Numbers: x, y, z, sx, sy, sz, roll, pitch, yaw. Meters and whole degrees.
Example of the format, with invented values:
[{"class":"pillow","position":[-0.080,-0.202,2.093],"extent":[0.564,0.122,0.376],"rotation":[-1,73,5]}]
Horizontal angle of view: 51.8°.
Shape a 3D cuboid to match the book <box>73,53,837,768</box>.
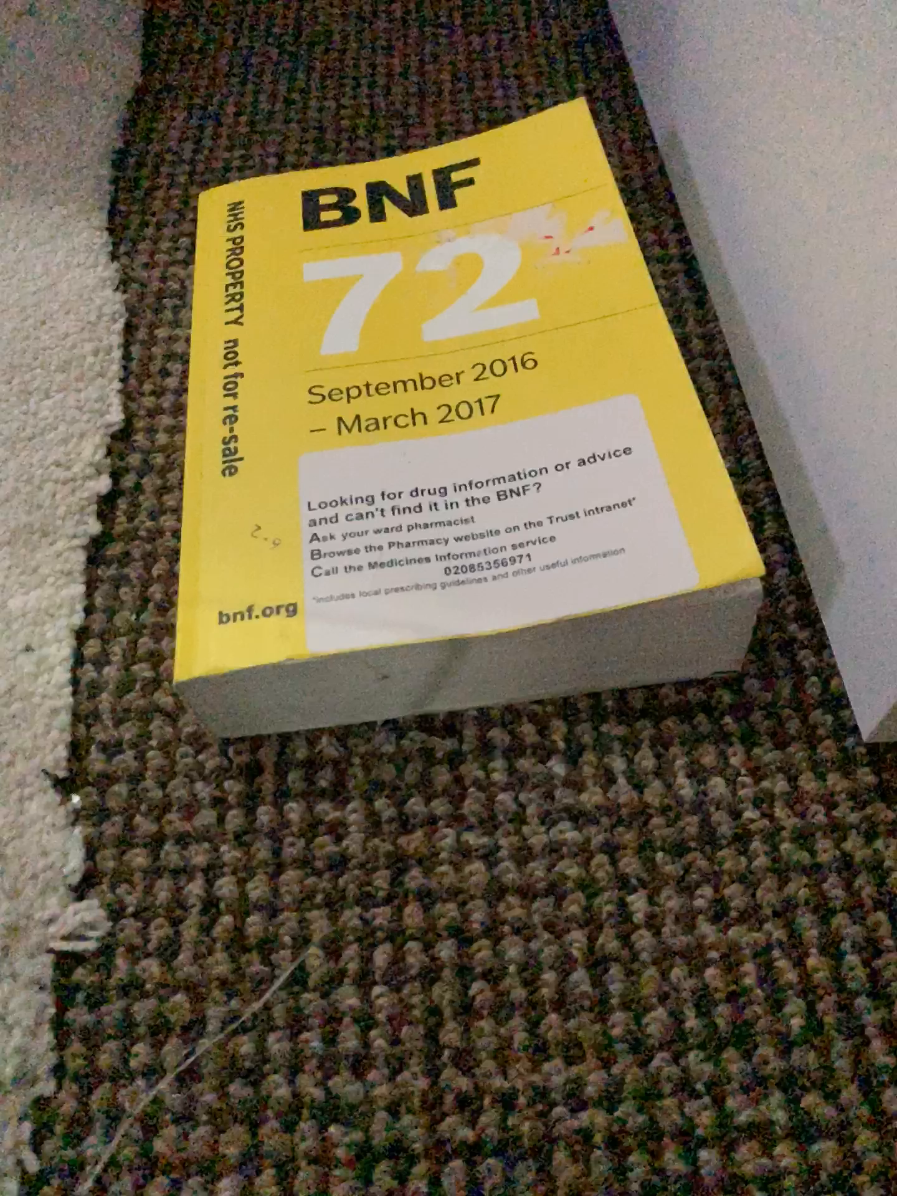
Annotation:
[{"class":"book","position":[-0.012,-0.073,0.274],"extent":[0.160,0.050,0.222],"rotation":[-8,56,-3]}]
